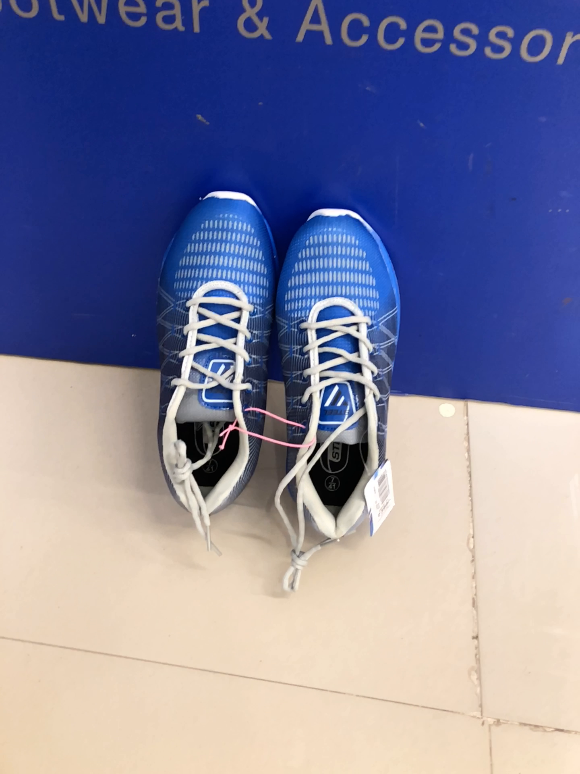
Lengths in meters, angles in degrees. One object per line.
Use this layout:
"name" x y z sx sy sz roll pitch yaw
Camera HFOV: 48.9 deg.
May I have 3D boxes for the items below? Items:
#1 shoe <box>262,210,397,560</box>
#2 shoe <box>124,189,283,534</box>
"shoe" 0.034 -0.003 0.555 0.100 0.120 0.270 1 91 3
"shoe" -0.071 -0.022 0.561 0.110 0.270 0.100 4 6 -1
